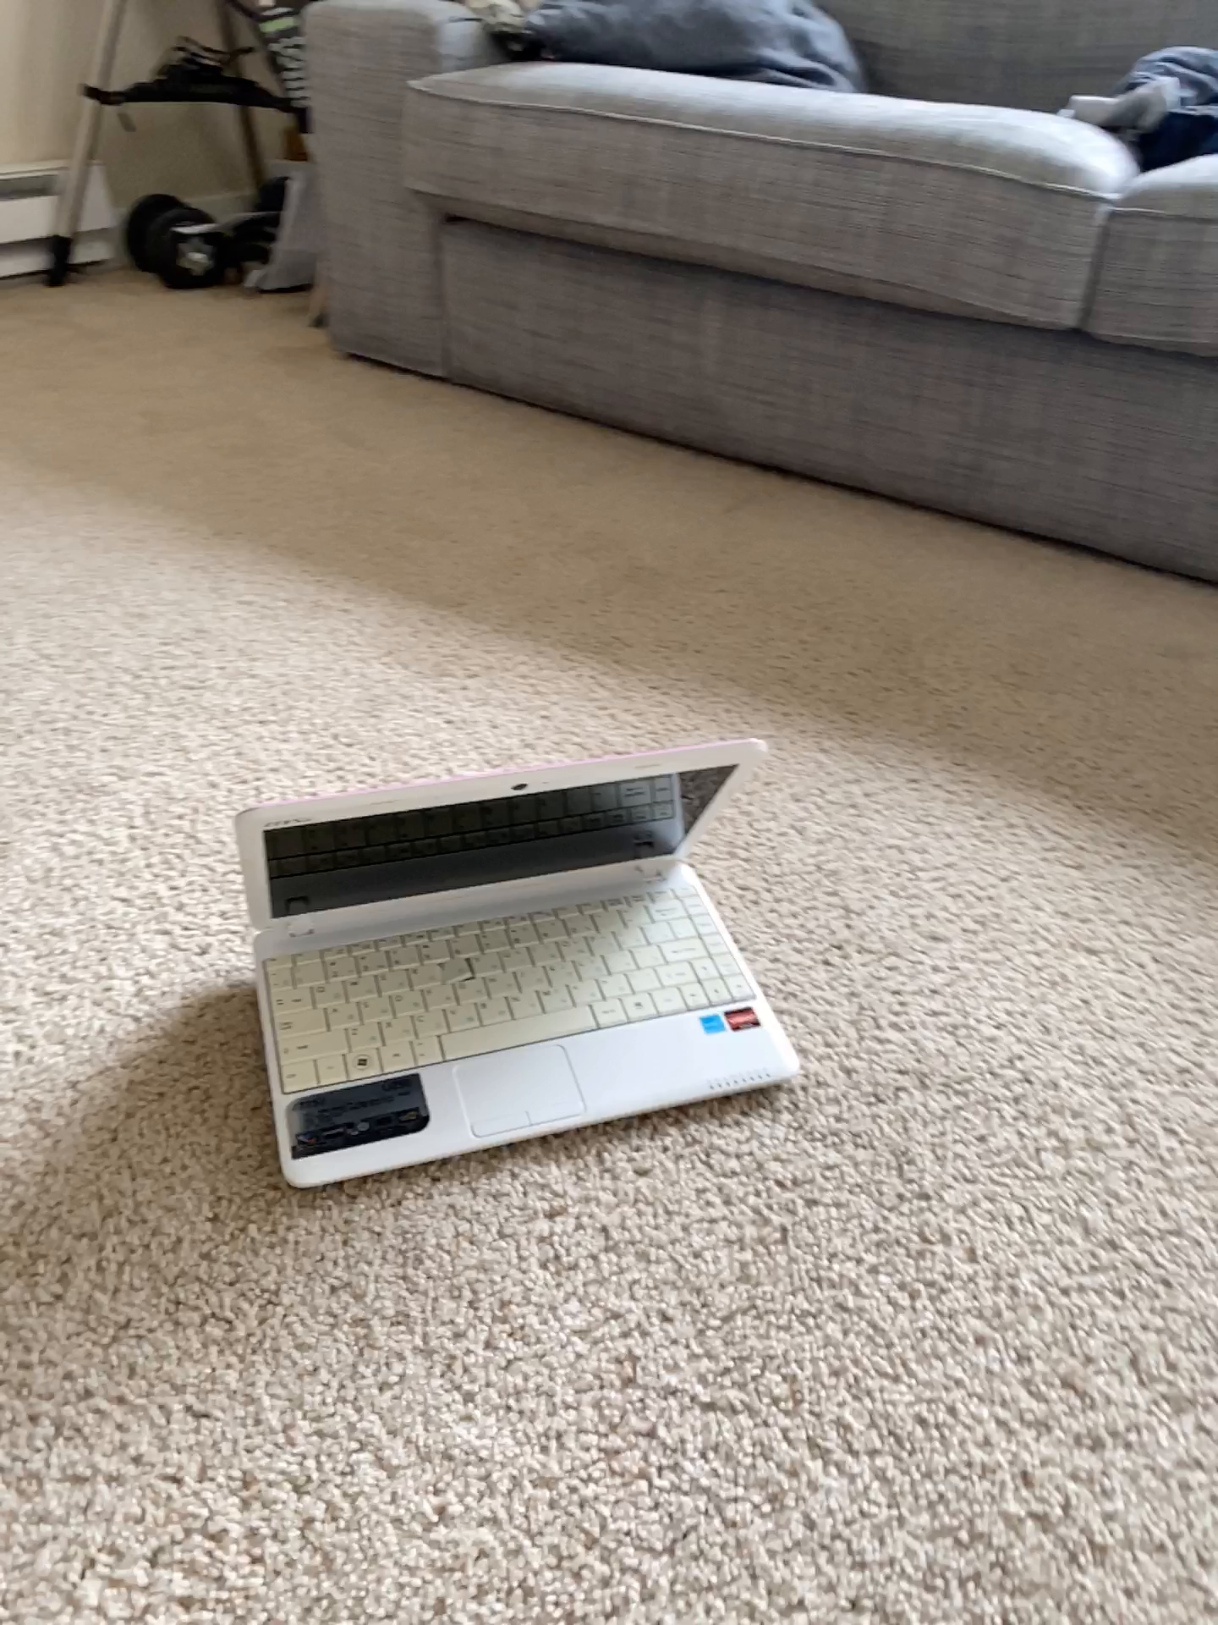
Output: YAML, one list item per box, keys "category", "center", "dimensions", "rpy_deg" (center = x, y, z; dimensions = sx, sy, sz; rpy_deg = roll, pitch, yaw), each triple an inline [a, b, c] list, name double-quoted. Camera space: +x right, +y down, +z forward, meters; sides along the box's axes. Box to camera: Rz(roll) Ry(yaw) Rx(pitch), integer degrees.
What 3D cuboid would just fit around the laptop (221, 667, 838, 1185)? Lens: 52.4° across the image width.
- category: "laptop"
  center: [-0.051, 0.049, 0.694]
  dimensions: [0.286, 0.147, 0.188]
  rpy_deg: [-9, 38, -16]
